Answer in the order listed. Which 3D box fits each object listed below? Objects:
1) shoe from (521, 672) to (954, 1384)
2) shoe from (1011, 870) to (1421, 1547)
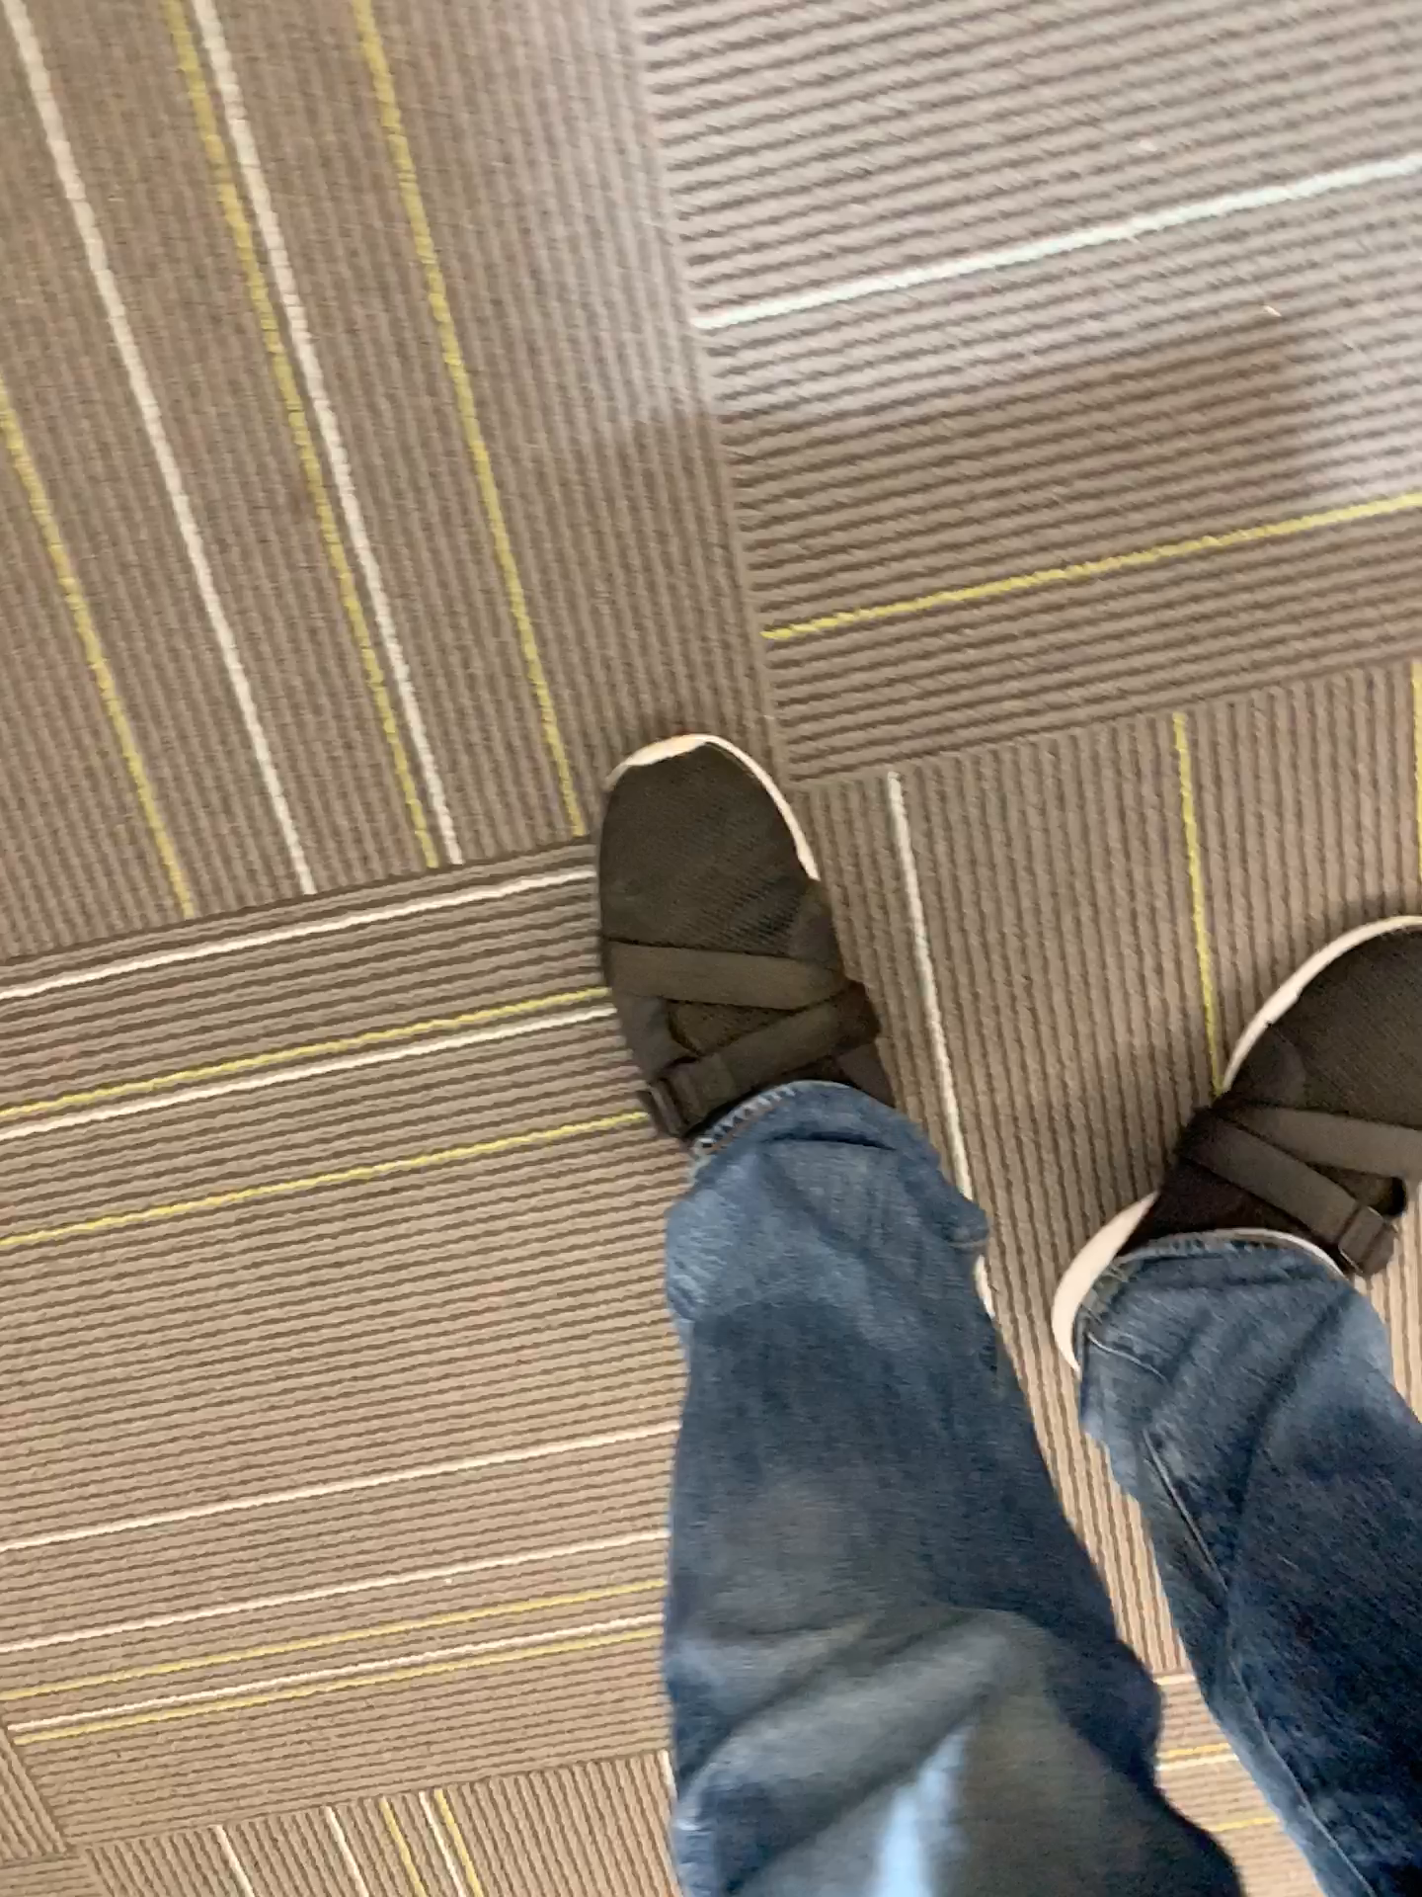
[{"bbox_3d":[0.019,0.039,0.700,0.120,0.120,0.301,-14,111,5],"label":"shoe"},{"bbox_3d":[0.296,0.130,0.720,0.120,0.110,0.301,30,108,-11],"label":"shoe"}]
